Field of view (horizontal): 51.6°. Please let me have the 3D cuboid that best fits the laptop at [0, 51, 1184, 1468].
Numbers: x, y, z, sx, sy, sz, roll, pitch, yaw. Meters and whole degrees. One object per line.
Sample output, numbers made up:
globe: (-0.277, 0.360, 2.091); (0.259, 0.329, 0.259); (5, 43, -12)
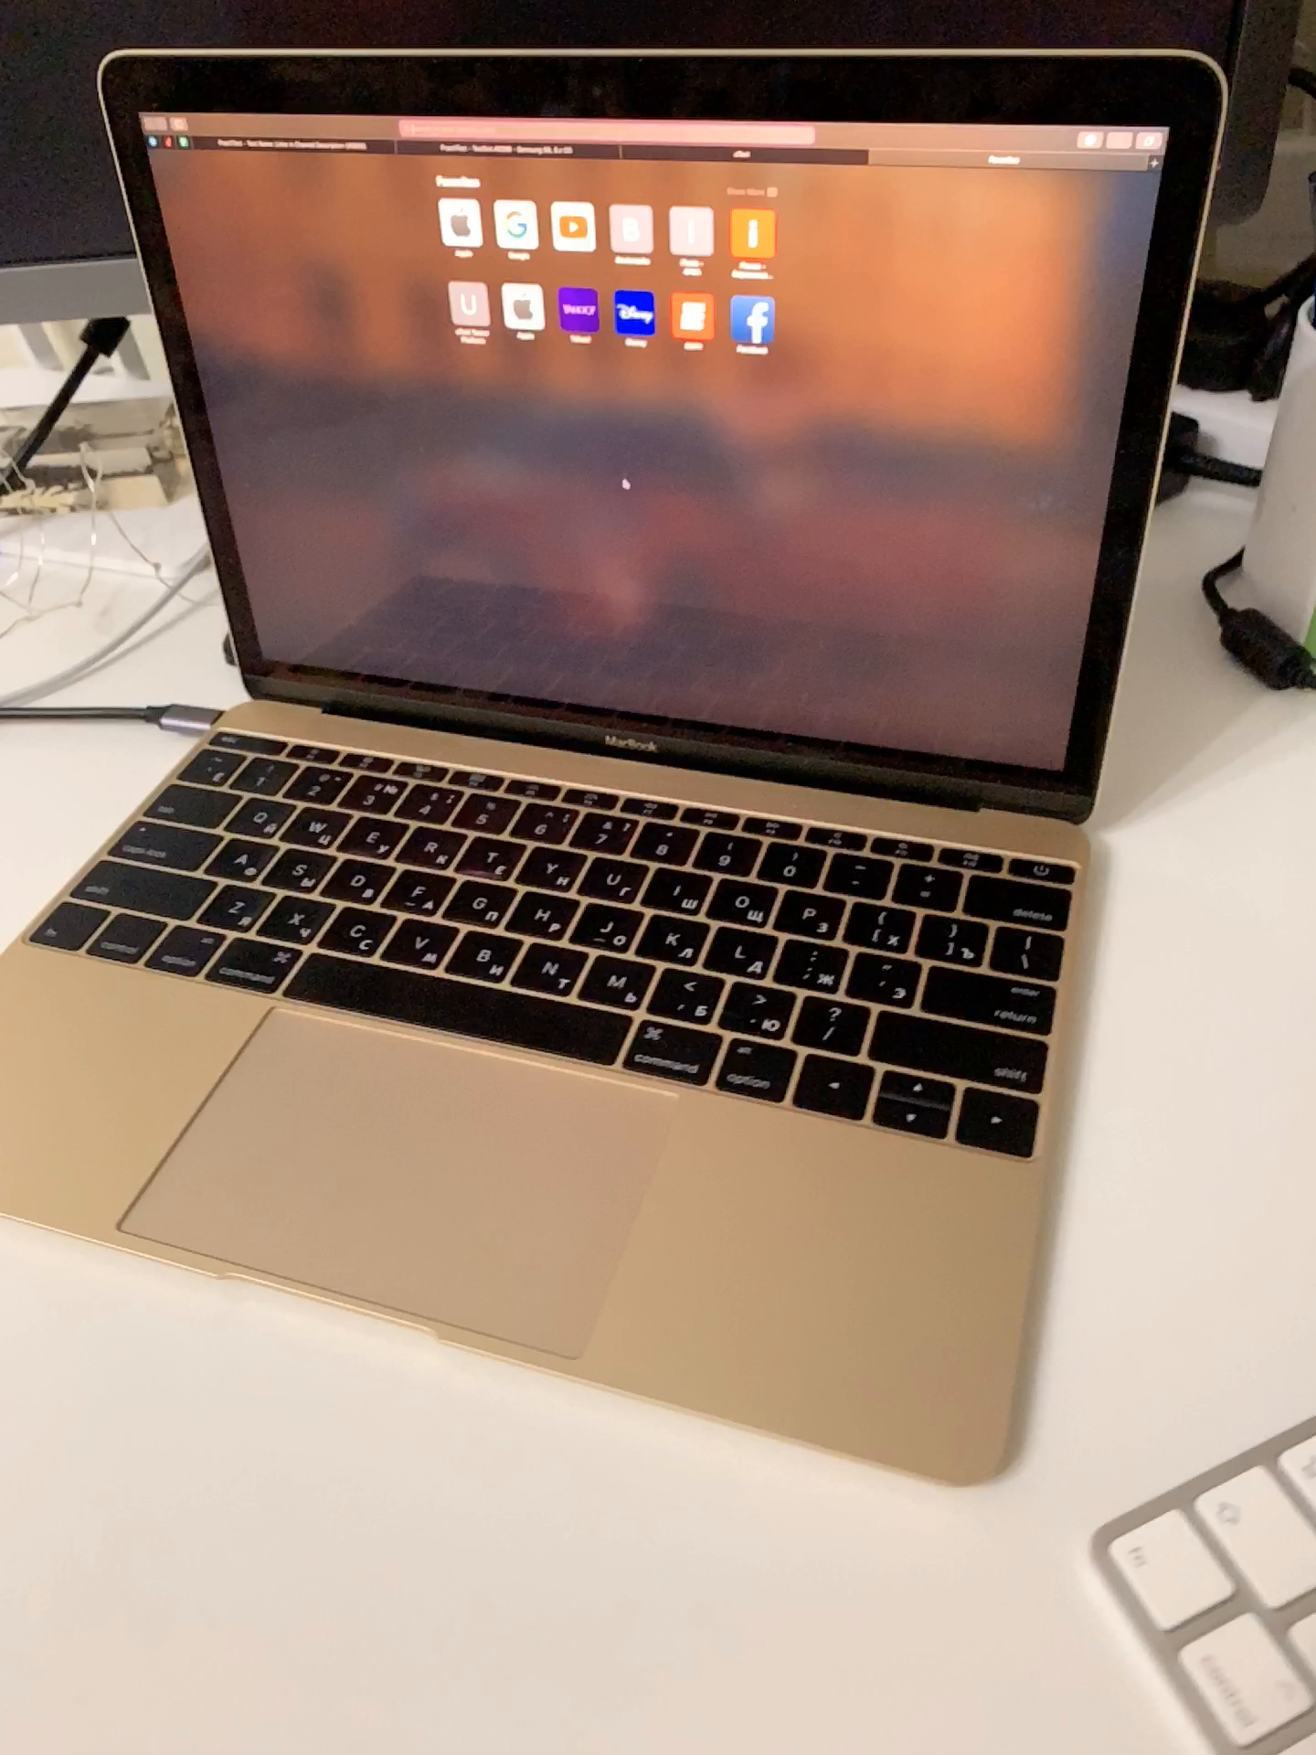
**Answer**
laptop: (-0.040, -0.049, 0.278); (0.247, 0.168, 0.198); (9, 43, 16)
